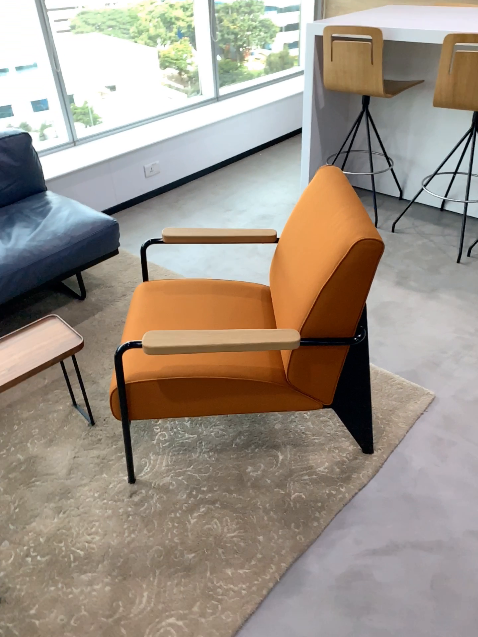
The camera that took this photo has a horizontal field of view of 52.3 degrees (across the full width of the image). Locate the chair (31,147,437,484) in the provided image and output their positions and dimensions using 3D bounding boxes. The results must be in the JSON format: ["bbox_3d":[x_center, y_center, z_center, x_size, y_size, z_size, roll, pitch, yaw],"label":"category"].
[{"bbox_3d":[-0.005,-0.035,1.542,0.860,0.734,0.736,-3,36,0],"label":"chair"}]
